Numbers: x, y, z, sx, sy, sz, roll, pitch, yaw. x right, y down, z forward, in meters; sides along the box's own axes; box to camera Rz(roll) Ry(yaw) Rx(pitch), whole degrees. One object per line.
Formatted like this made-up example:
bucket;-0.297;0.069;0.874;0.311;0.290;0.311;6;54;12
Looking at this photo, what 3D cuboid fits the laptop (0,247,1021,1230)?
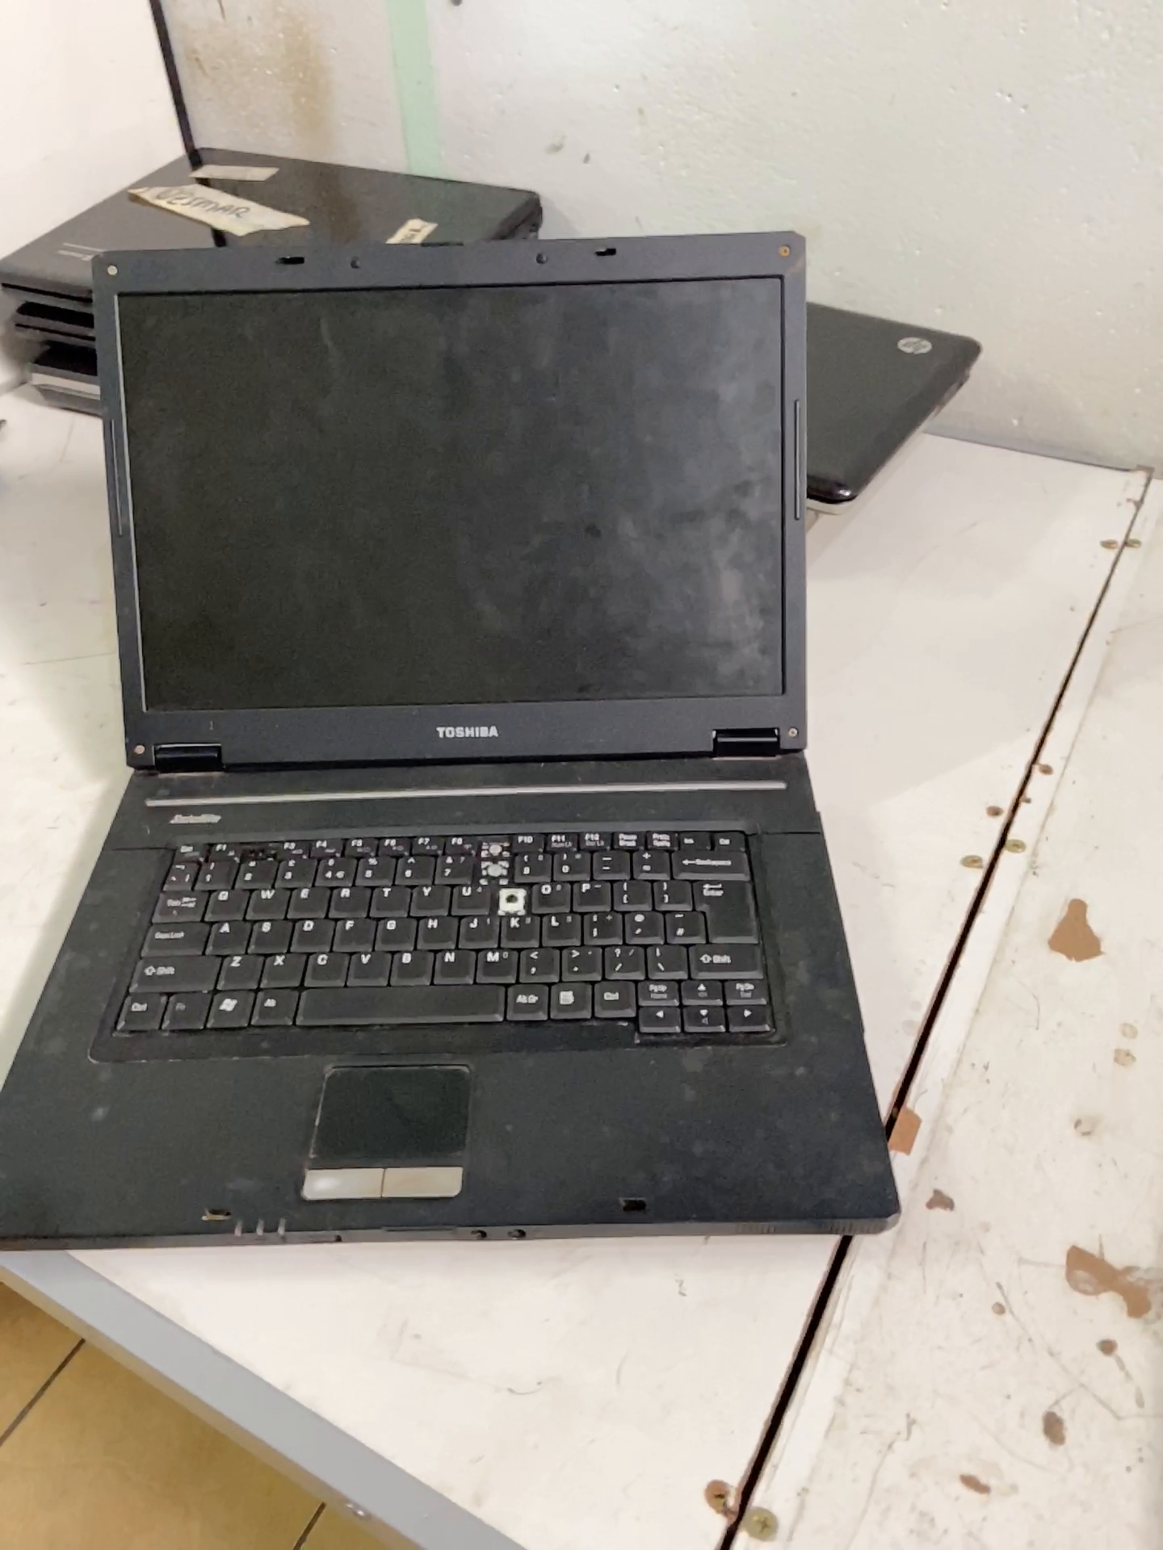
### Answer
laptop;-0.061;-0.045;0.528;0.356;0.212;0.404;-2;43;2
